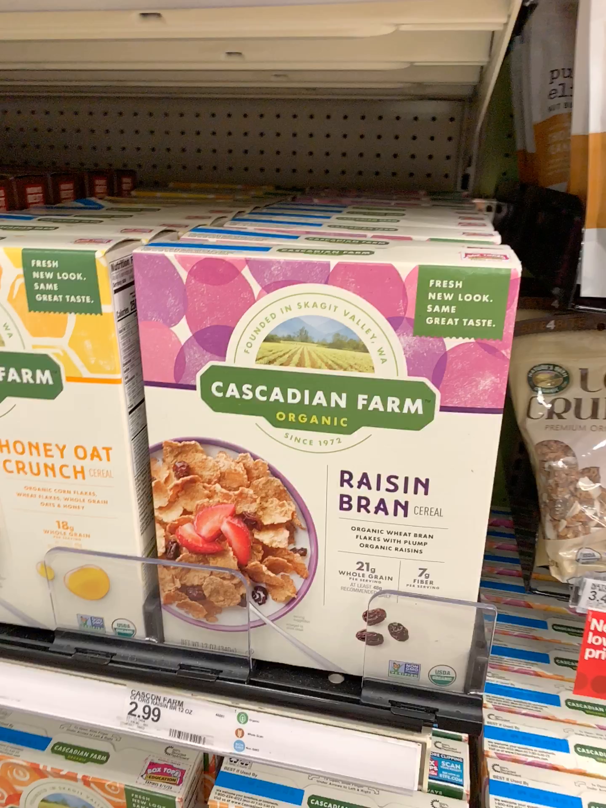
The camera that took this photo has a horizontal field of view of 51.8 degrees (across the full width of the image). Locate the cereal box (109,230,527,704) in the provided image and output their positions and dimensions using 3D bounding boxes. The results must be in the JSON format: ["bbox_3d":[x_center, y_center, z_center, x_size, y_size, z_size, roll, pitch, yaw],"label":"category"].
[{"bbox_3d":[0.004,0.043,0.371,0.200,0.269,0.050,5,24,9],"label":"cereal box"}]
